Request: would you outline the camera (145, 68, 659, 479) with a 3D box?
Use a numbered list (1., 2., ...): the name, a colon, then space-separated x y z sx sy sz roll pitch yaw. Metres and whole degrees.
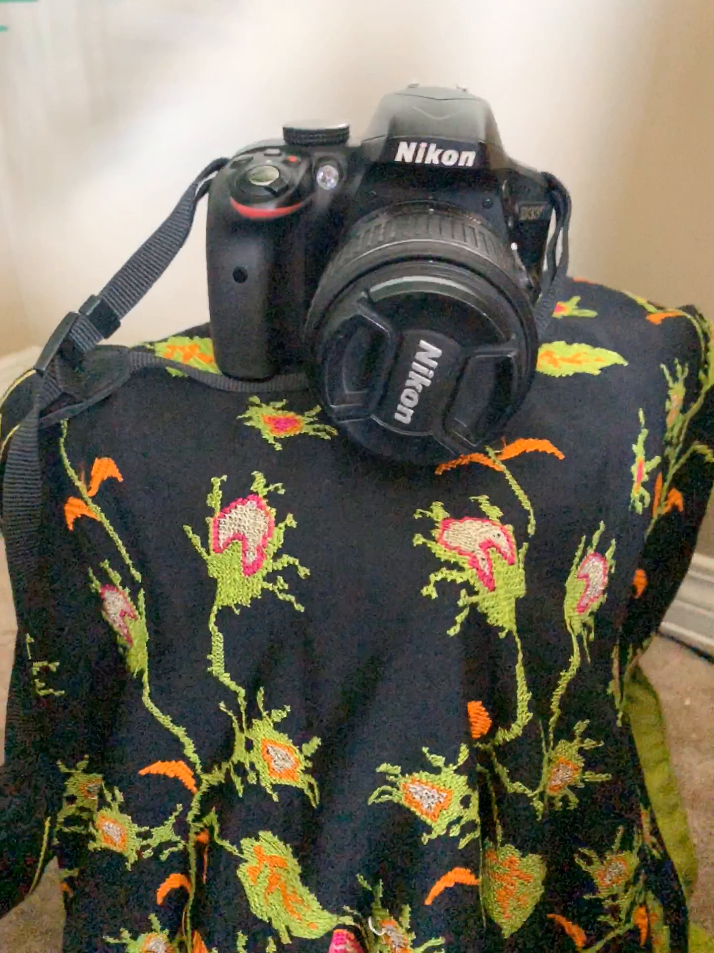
1. camera: 0.010 -0.068 0.237 0.120 0.099 0.091 3 31 0
